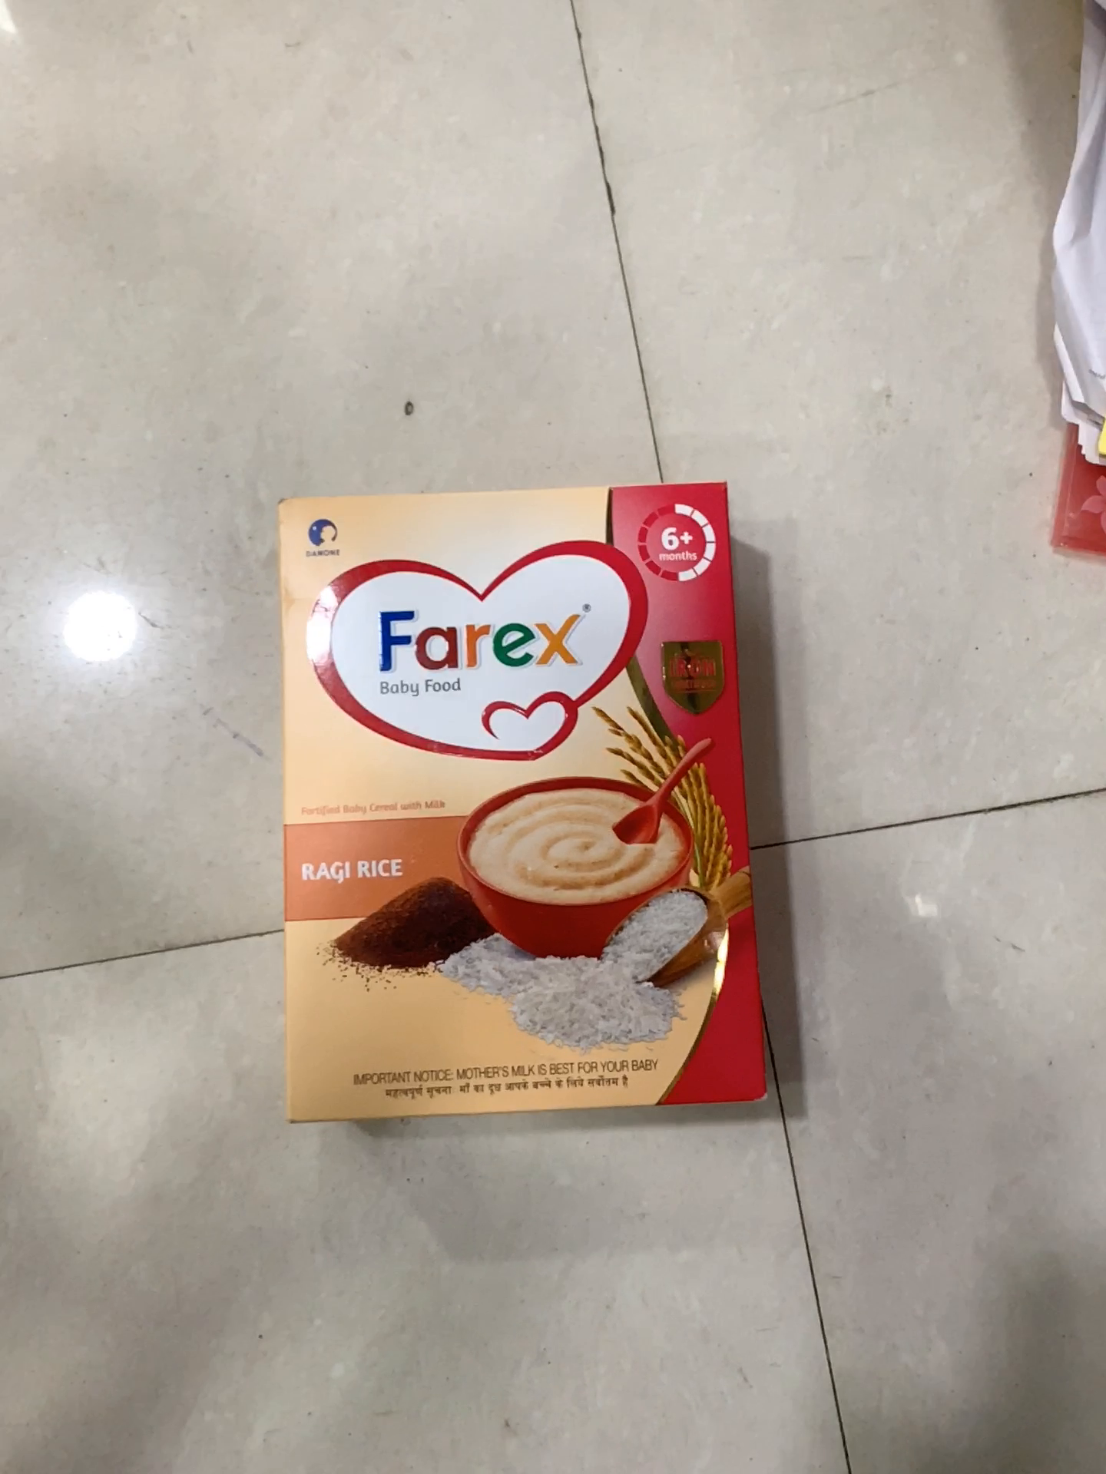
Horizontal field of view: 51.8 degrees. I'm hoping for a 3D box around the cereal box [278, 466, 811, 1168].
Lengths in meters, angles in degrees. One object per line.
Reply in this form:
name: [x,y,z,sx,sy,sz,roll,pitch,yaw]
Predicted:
cereal box: [-0.006,0.021,0.356,0.150,0.050,0.200,-1,84,-5]
